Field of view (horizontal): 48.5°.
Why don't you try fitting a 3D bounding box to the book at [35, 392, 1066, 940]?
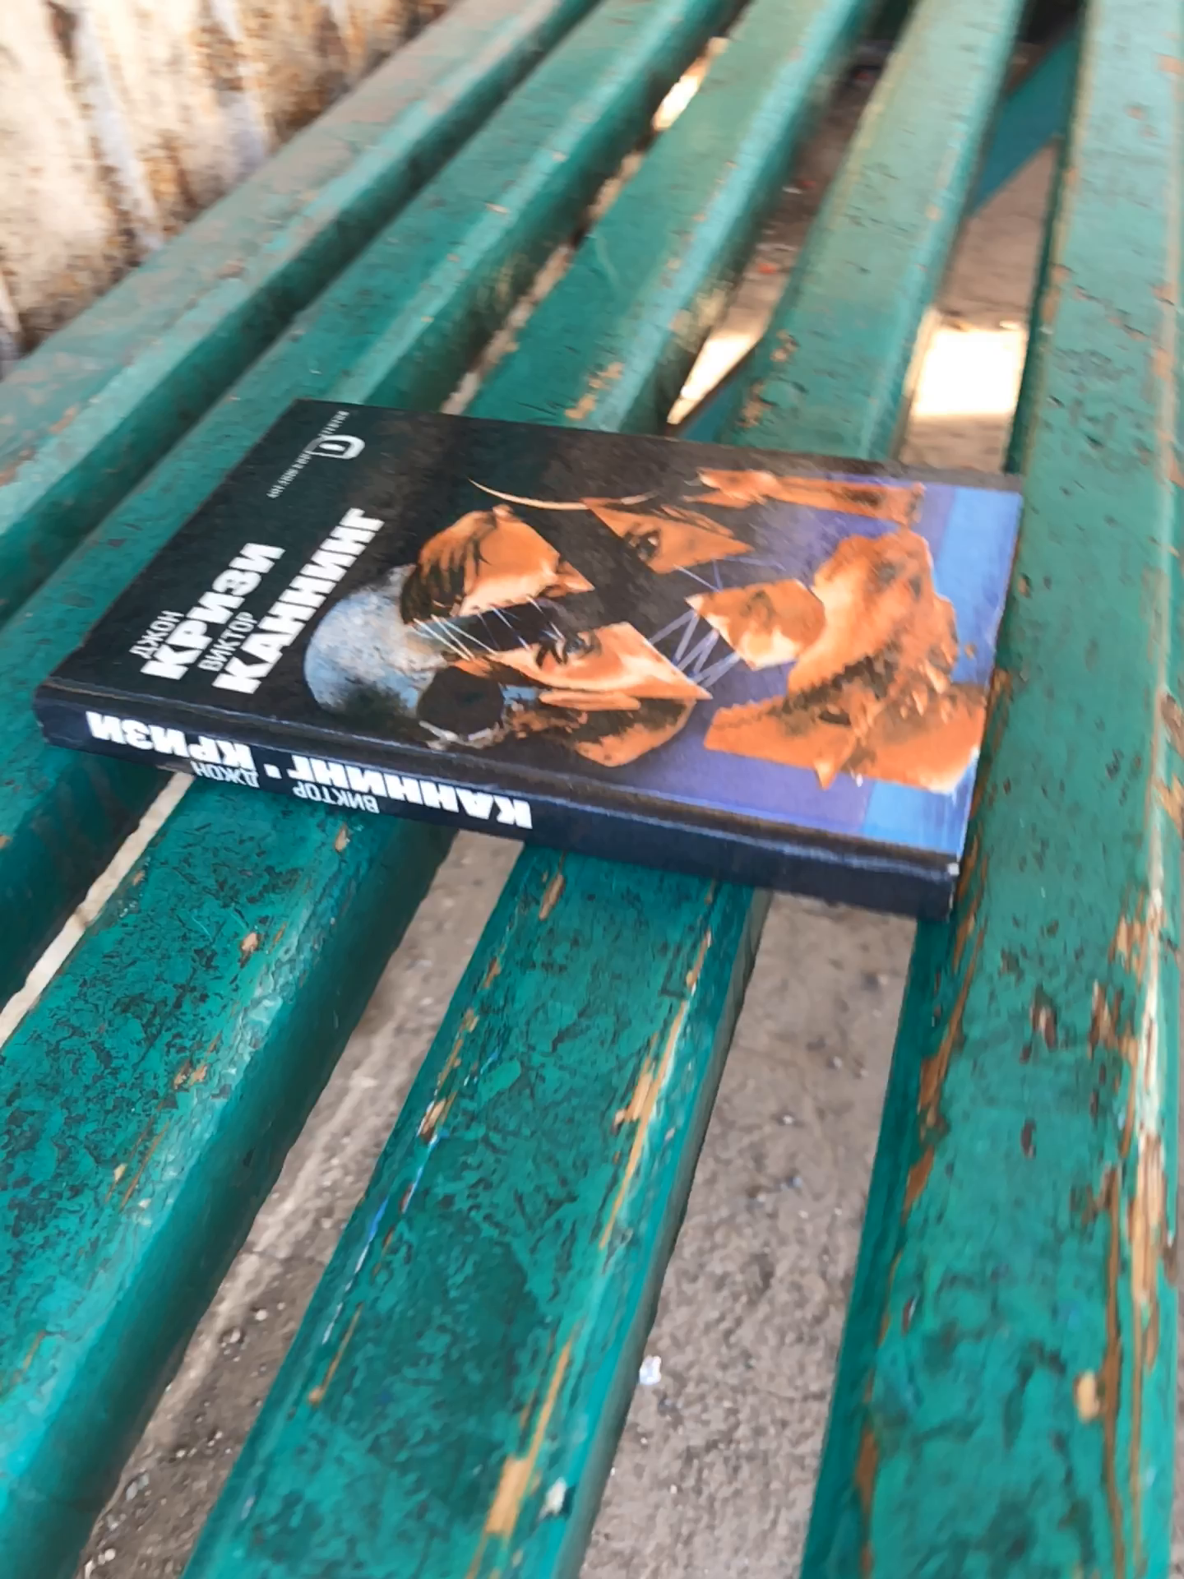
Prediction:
[{"bbox_3d":[-0.003,-0.043,0.317,0.212,0.020,0.135,10,47,15],"label":"book"}]
